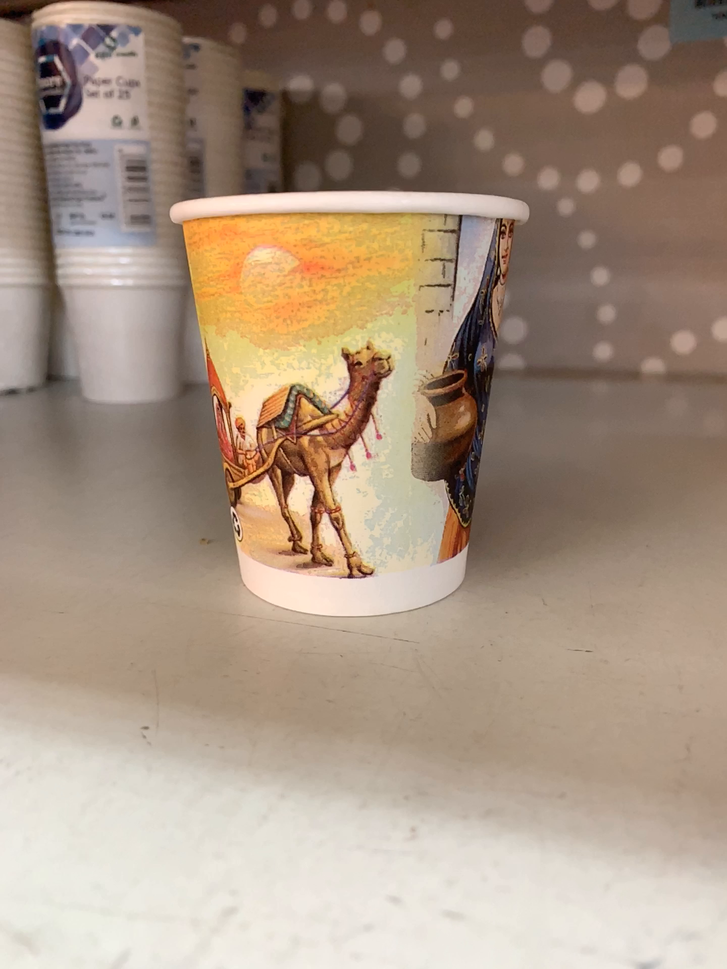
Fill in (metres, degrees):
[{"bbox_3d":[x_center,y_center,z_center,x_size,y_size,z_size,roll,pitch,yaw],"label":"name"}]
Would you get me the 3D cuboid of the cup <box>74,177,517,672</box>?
[{"bbox_3d":[-0.006,-0.018,0.162,0.070,0.080,0.070,0,15,0],"label":"cup"}]
